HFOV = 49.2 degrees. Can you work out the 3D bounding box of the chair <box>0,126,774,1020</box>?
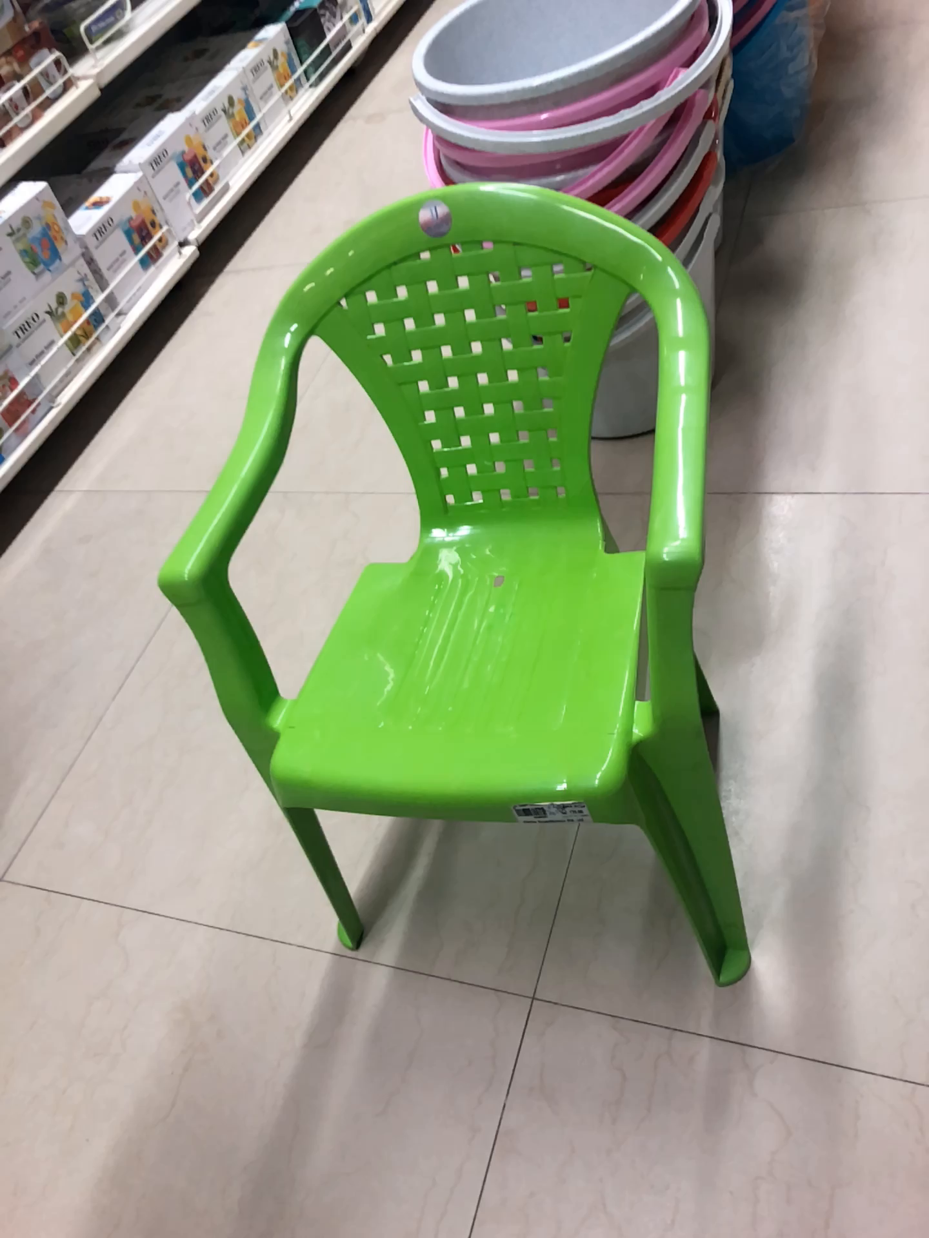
[{"bbox_3d":[0.008,0.010,0.726,0.361,0.517,0.312,0,49,22],"label":"chair"}]
